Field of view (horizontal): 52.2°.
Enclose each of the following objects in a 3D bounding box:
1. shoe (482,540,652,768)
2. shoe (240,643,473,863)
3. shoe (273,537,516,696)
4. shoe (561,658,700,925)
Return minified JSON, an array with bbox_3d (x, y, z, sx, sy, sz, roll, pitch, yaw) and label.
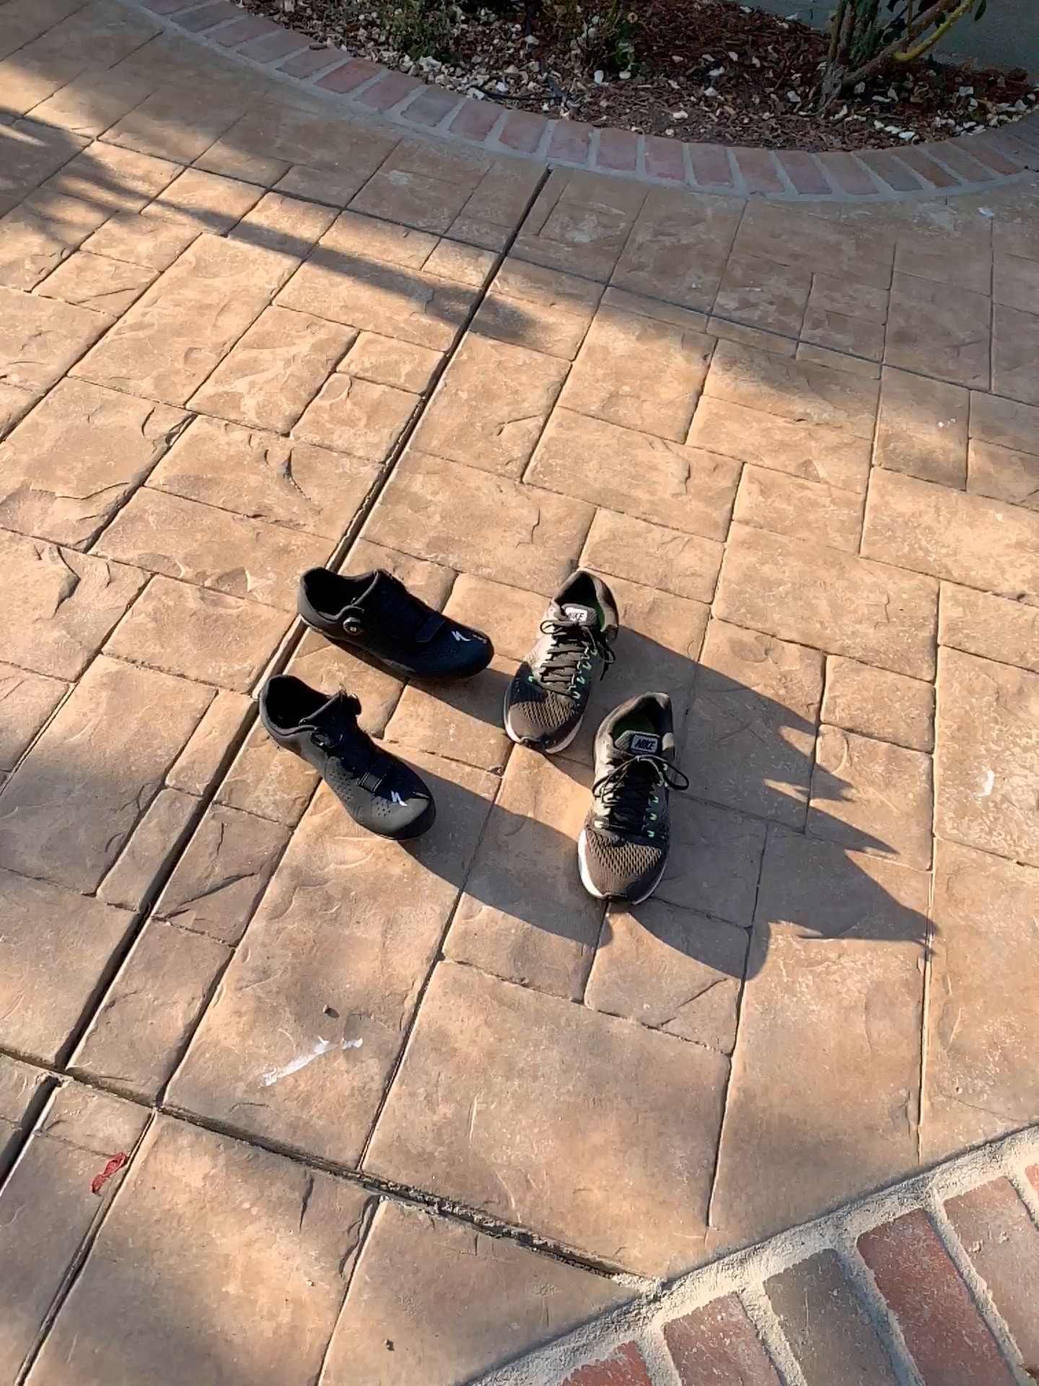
[{"bbox_3d":[0.066,-0.058,1.395,0.130,0.090,0.291,20,51,7],"label":"shoe"},{"bbox_3d":[-0.195,0.064,1.254,0.281,0.050,0.110,39,55,21],"label":"shoe"},{"bbox_3d":[-0.160,-0.102,1.376,0.280,0.050,0.131,18,50,6],"label":"shoe"},{"bbox_3d":[0.138,0.113,1.283,0.130,0.109,0.291,10,50,-1],"label":"shoe"}]
